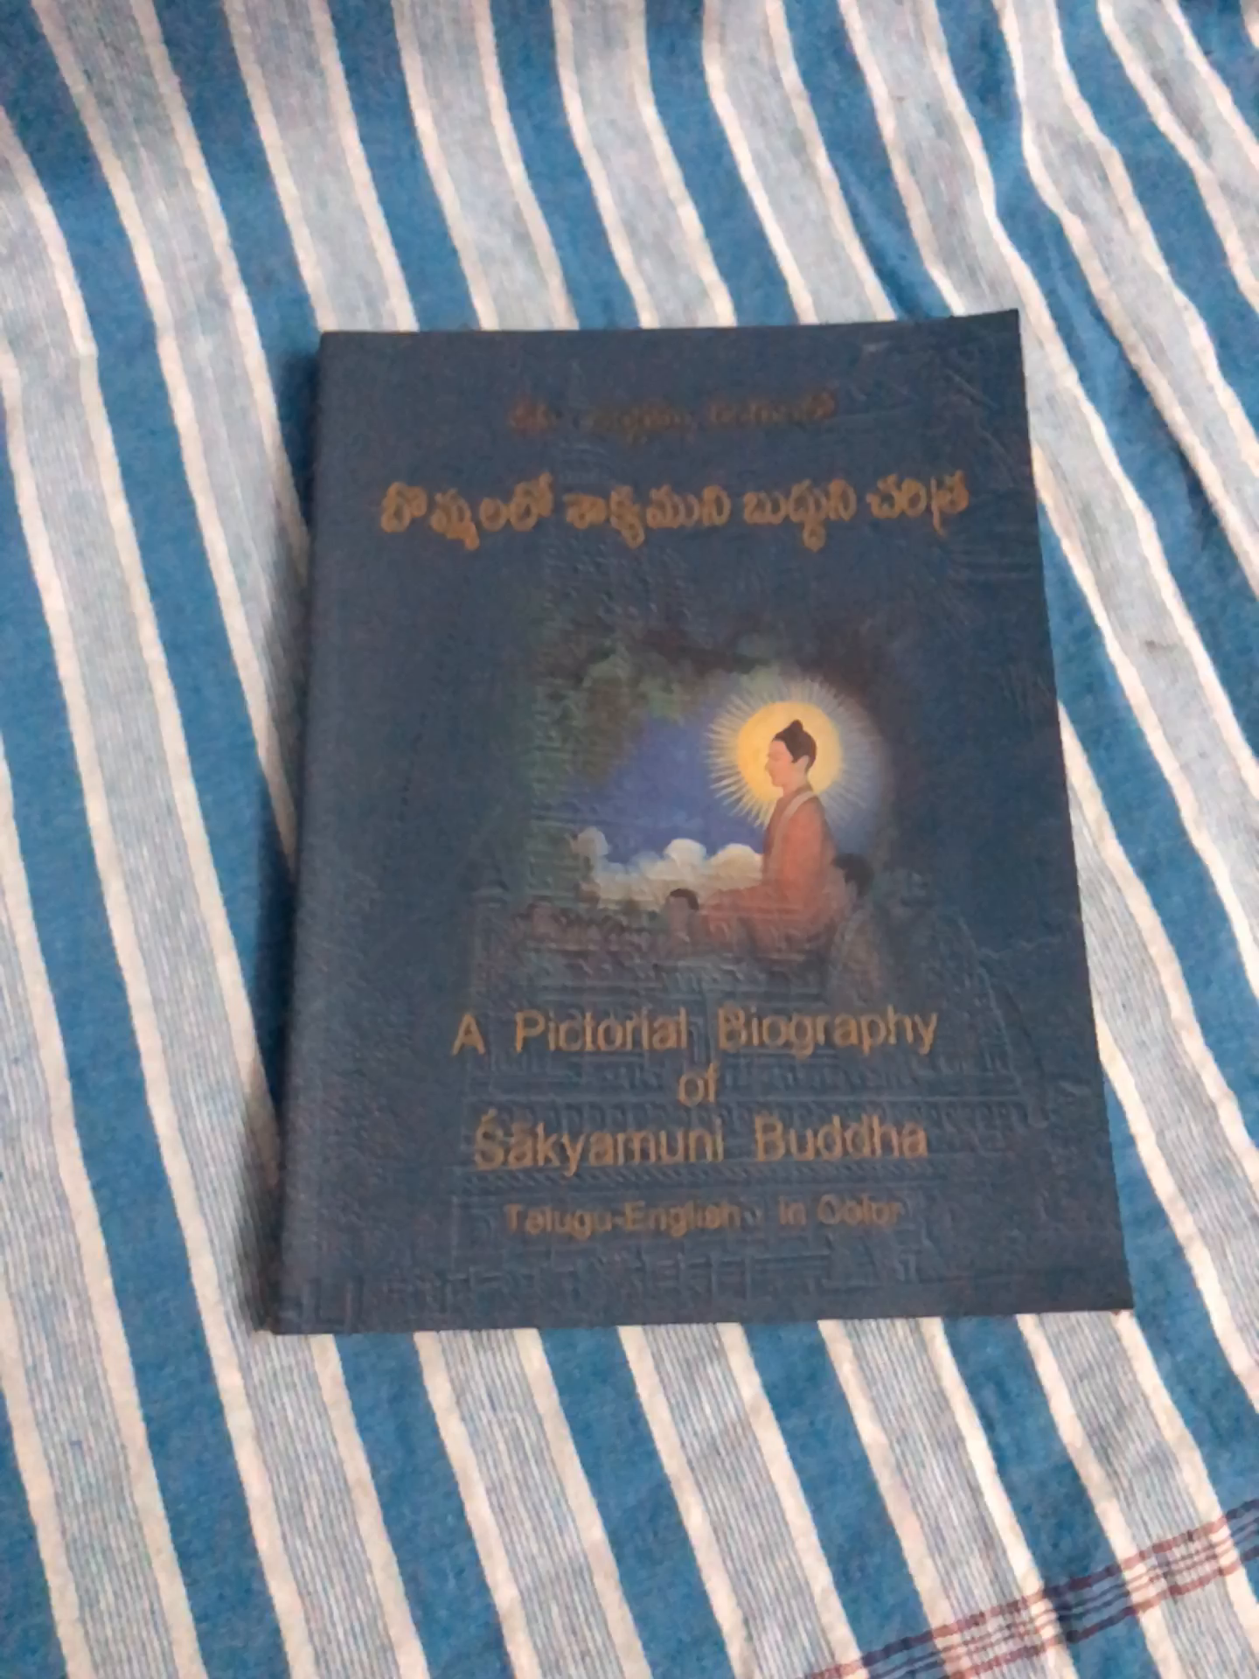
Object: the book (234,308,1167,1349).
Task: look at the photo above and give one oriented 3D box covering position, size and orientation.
[{"bbox_3d":[0.010,-0.012,0.298,0.170,0.020,0.220,-1,73,-1],"label":"book"}]
